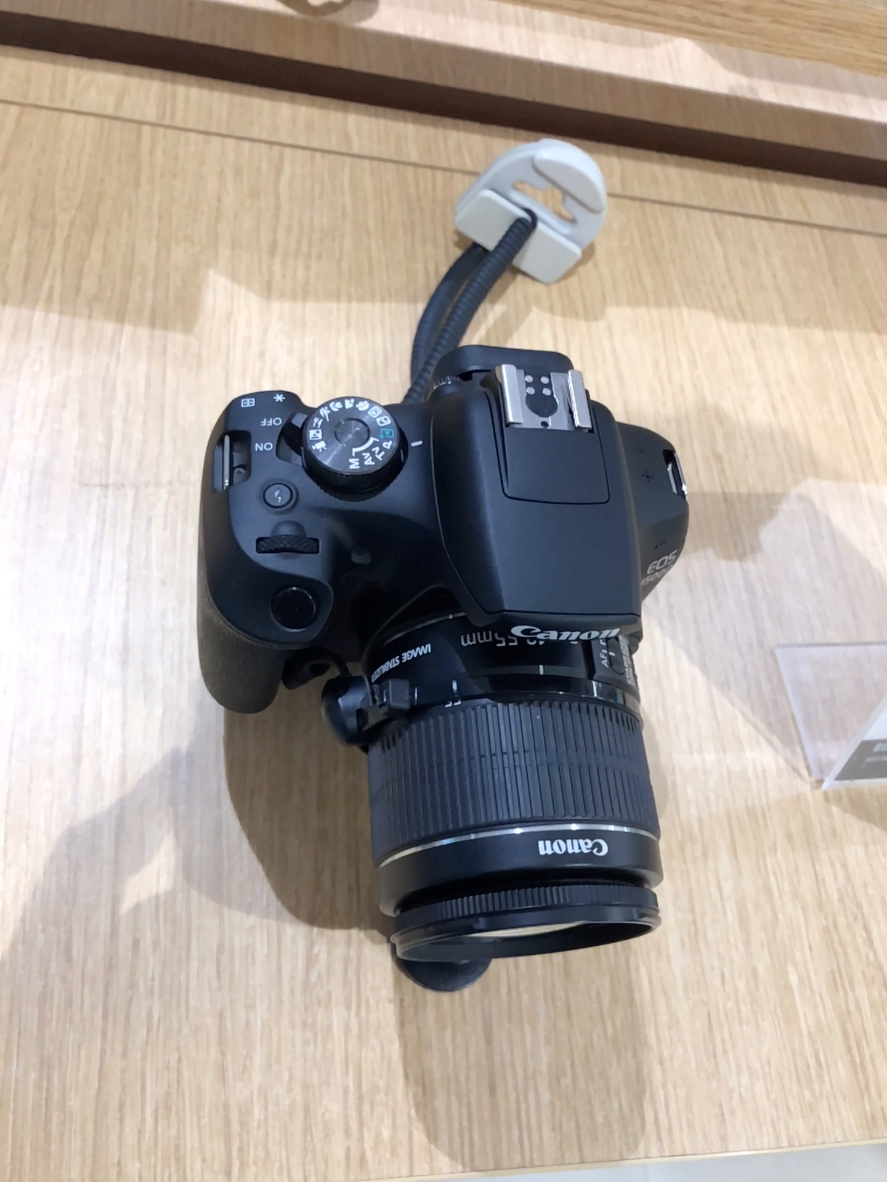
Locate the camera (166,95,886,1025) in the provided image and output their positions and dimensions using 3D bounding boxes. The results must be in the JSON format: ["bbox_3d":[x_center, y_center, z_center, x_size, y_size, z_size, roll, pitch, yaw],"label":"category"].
[{"bbox_3d":[0.005,-0.009,0.246,0.140,0.100,0.191,-1,62,-15],"label":"camera"}]
